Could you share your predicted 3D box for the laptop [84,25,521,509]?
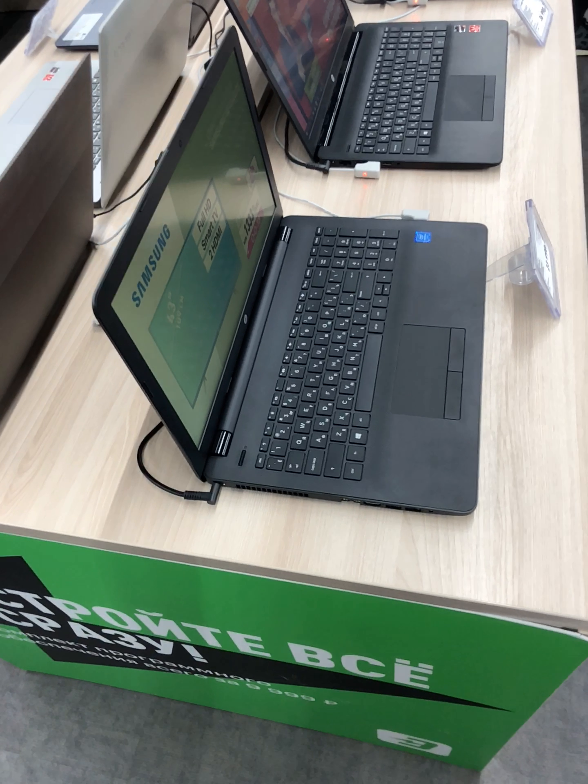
[{"bbox_3d":[0.044,-0.127,0.589,0.273,0.222,0.363,6,55,10],"label":"laptop"}]
